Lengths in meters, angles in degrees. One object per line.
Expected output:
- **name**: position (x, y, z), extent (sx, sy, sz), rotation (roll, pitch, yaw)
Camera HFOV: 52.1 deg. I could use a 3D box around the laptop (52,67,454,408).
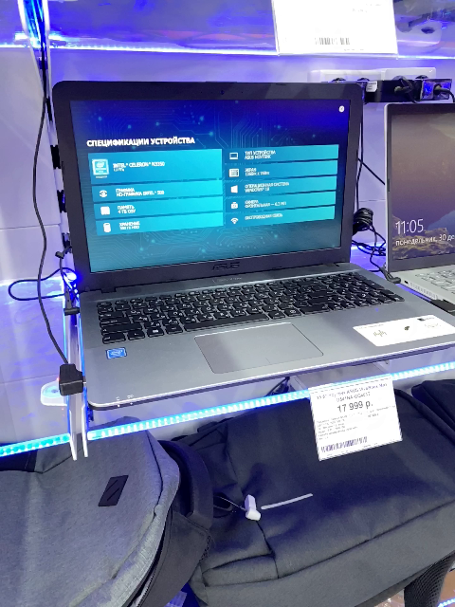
- **laptop**: position (0.035, -0.101, 0.479), extent (0.372, 0.232, 0.263), rotation (-8, 23, -17)
